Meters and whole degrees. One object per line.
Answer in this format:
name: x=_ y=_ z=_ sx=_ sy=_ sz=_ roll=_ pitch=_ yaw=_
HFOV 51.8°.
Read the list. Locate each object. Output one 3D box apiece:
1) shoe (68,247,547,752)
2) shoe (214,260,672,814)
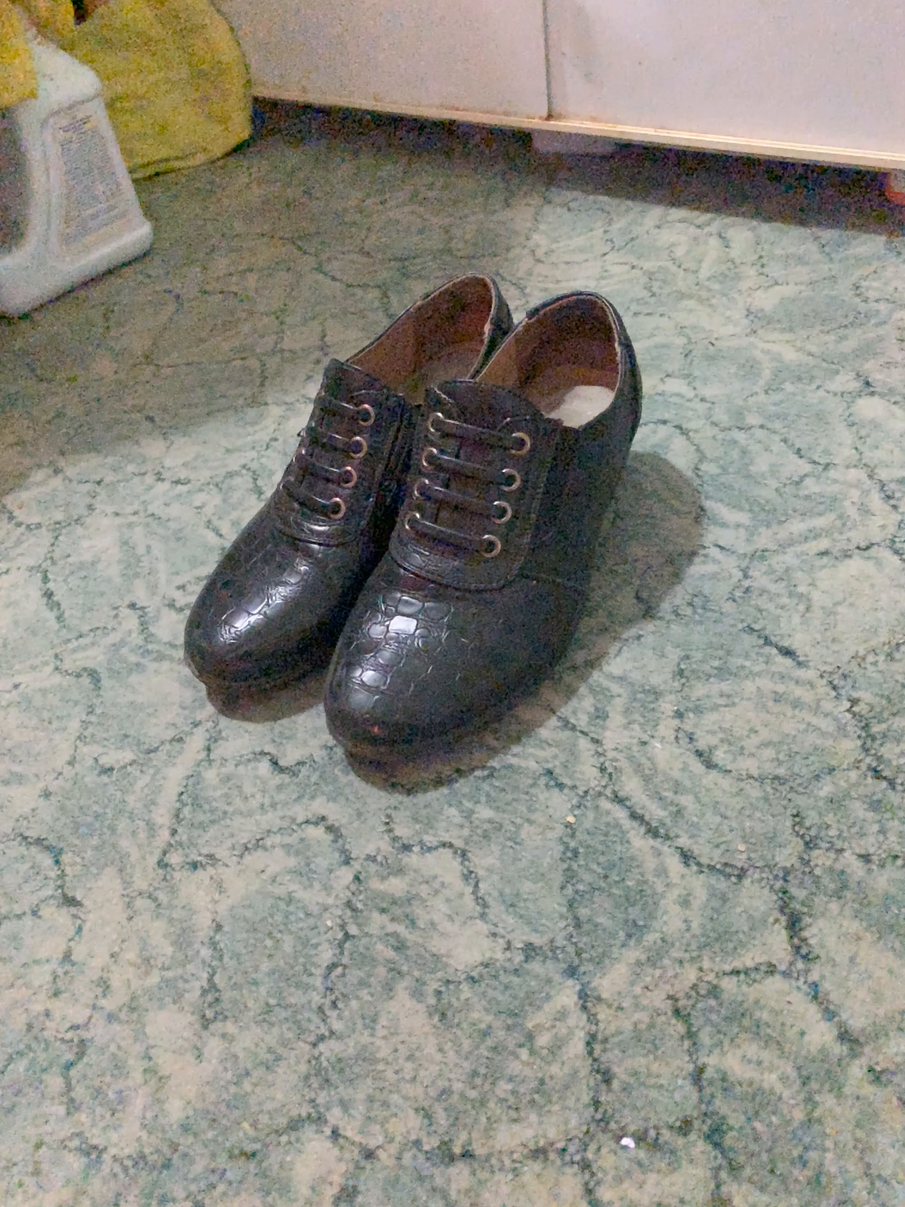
shoe: x=-0.050 y=-0.061 z=0.455 sx=0.090 sy=0.119 sz=0.221 roll=20 pitch=53 yaw=27
shoe: x=0.014 y=-0.040 z=0.409 sx=0.090 sy=0.119 sz=0.211 roll=17 pitch=51 yaw=25
